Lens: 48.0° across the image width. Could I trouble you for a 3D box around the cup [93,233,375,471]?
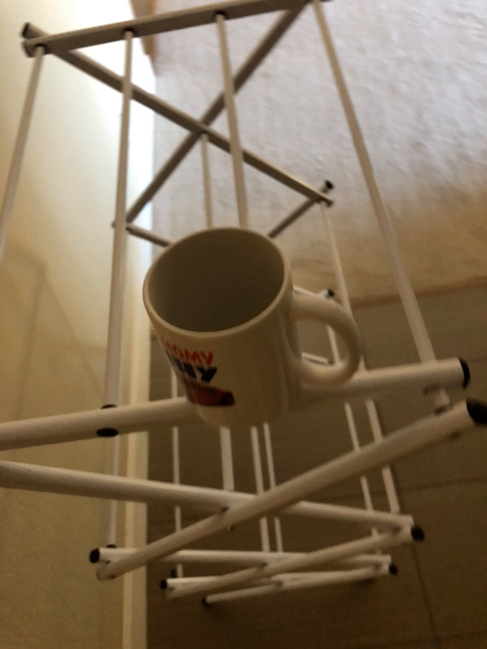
[{"bbox_3d":[0.005,0.014,0.320,0.130,0.090,0.090,6,54,18],"label":"cup"}]
